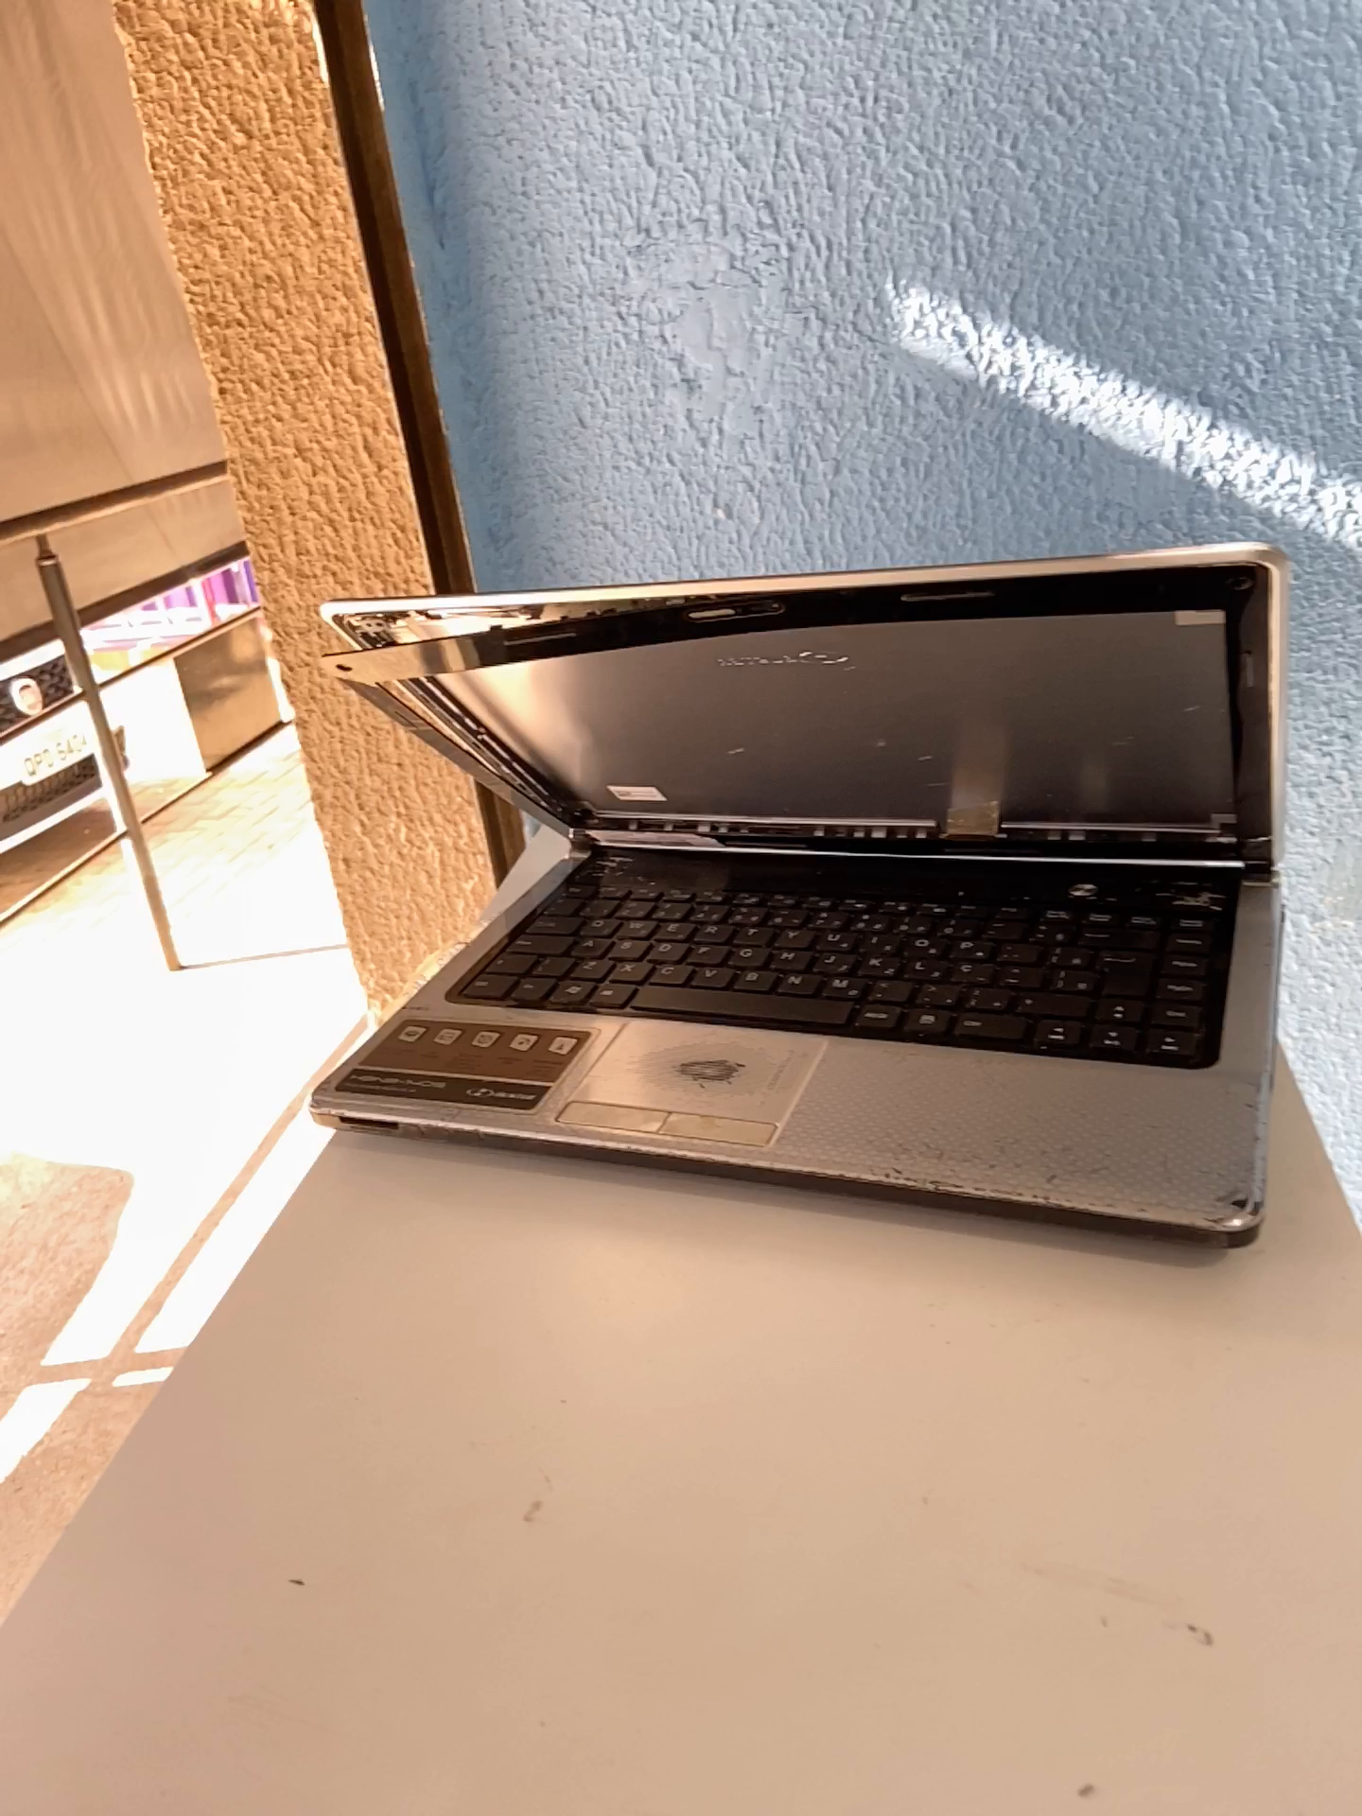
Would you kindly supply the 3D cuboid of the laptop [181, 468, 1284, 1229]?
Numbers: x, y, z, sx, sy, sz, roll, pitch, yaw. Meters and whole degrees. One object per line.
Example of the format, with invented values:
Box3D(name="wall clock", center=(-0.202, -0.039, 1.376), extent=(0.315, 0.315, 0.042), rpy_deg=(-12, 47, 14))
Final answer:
Box3D(name="laptop", center=(0.040, -0.043, 0.516), extent=(0.326, 0.160, 0.233), rpy_deg=(2, 26, 24))
